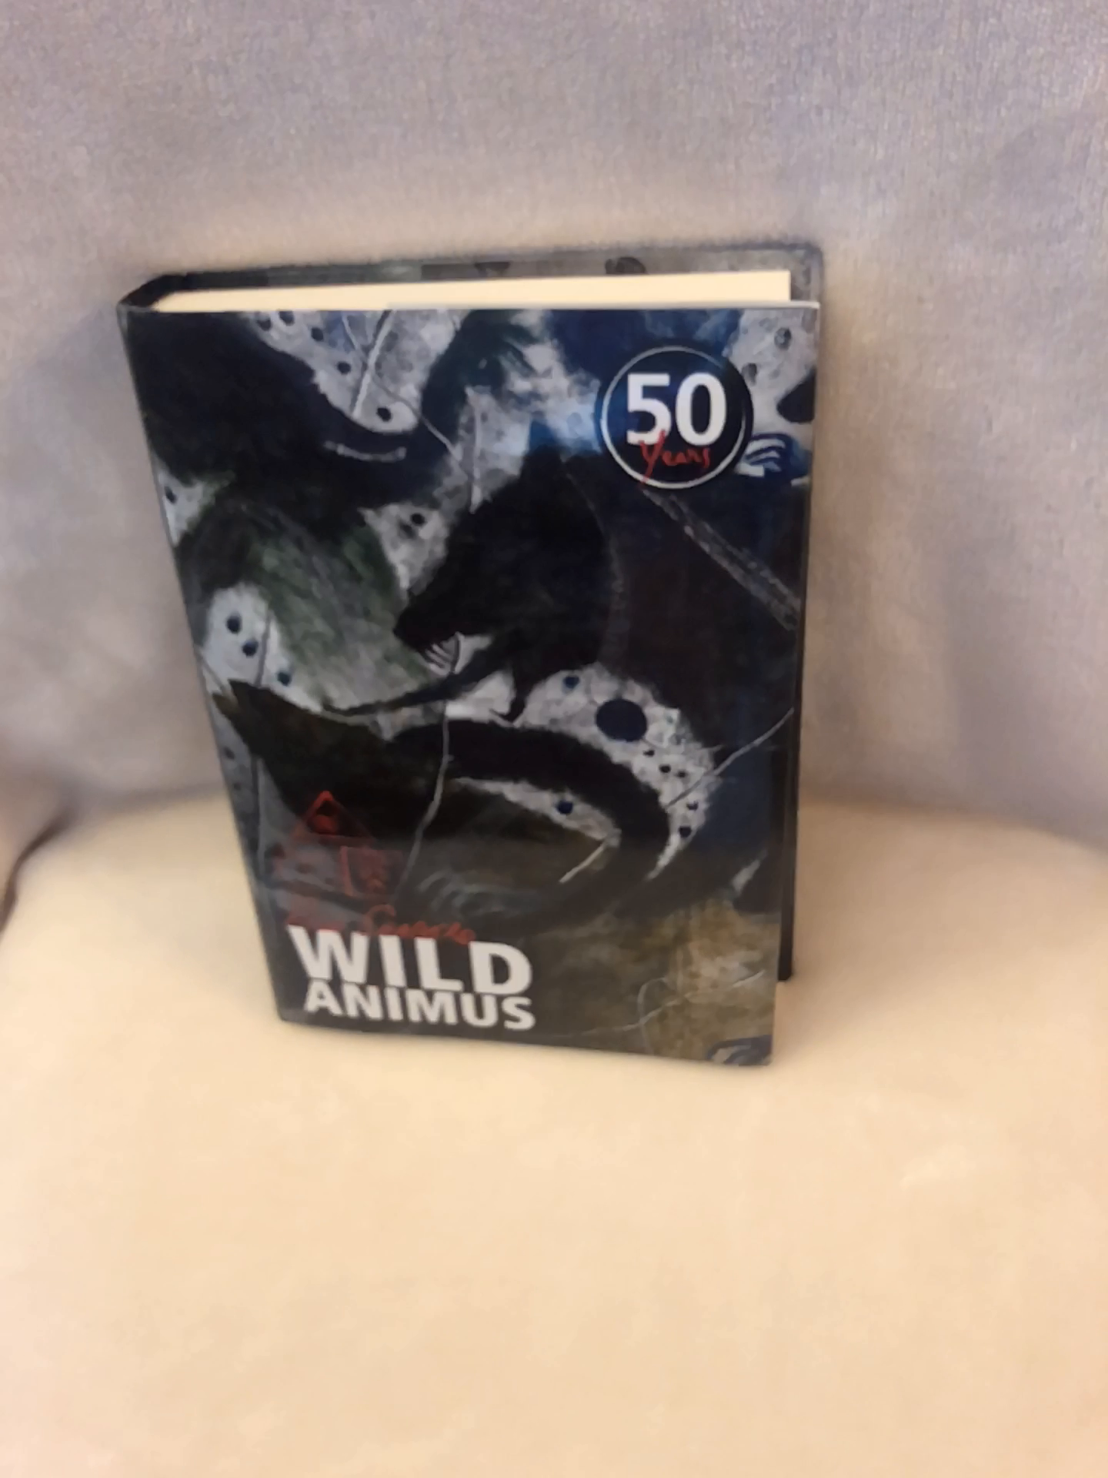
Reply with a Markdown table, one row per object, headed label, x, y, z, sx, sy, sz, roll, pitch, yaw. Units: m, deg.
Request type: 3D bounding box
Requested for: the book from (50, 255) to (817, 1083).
| label | x | y | z | sx | sy | sz | roll | pitch | yaw |
| --- | --- | --- | --- | --- | --- | --- | --- | --- | --- |
| book | -0.019 | -0.008 | 0.331 | 0.163 | 0.216 | 0.043 | 2 | 32 | 10 |
